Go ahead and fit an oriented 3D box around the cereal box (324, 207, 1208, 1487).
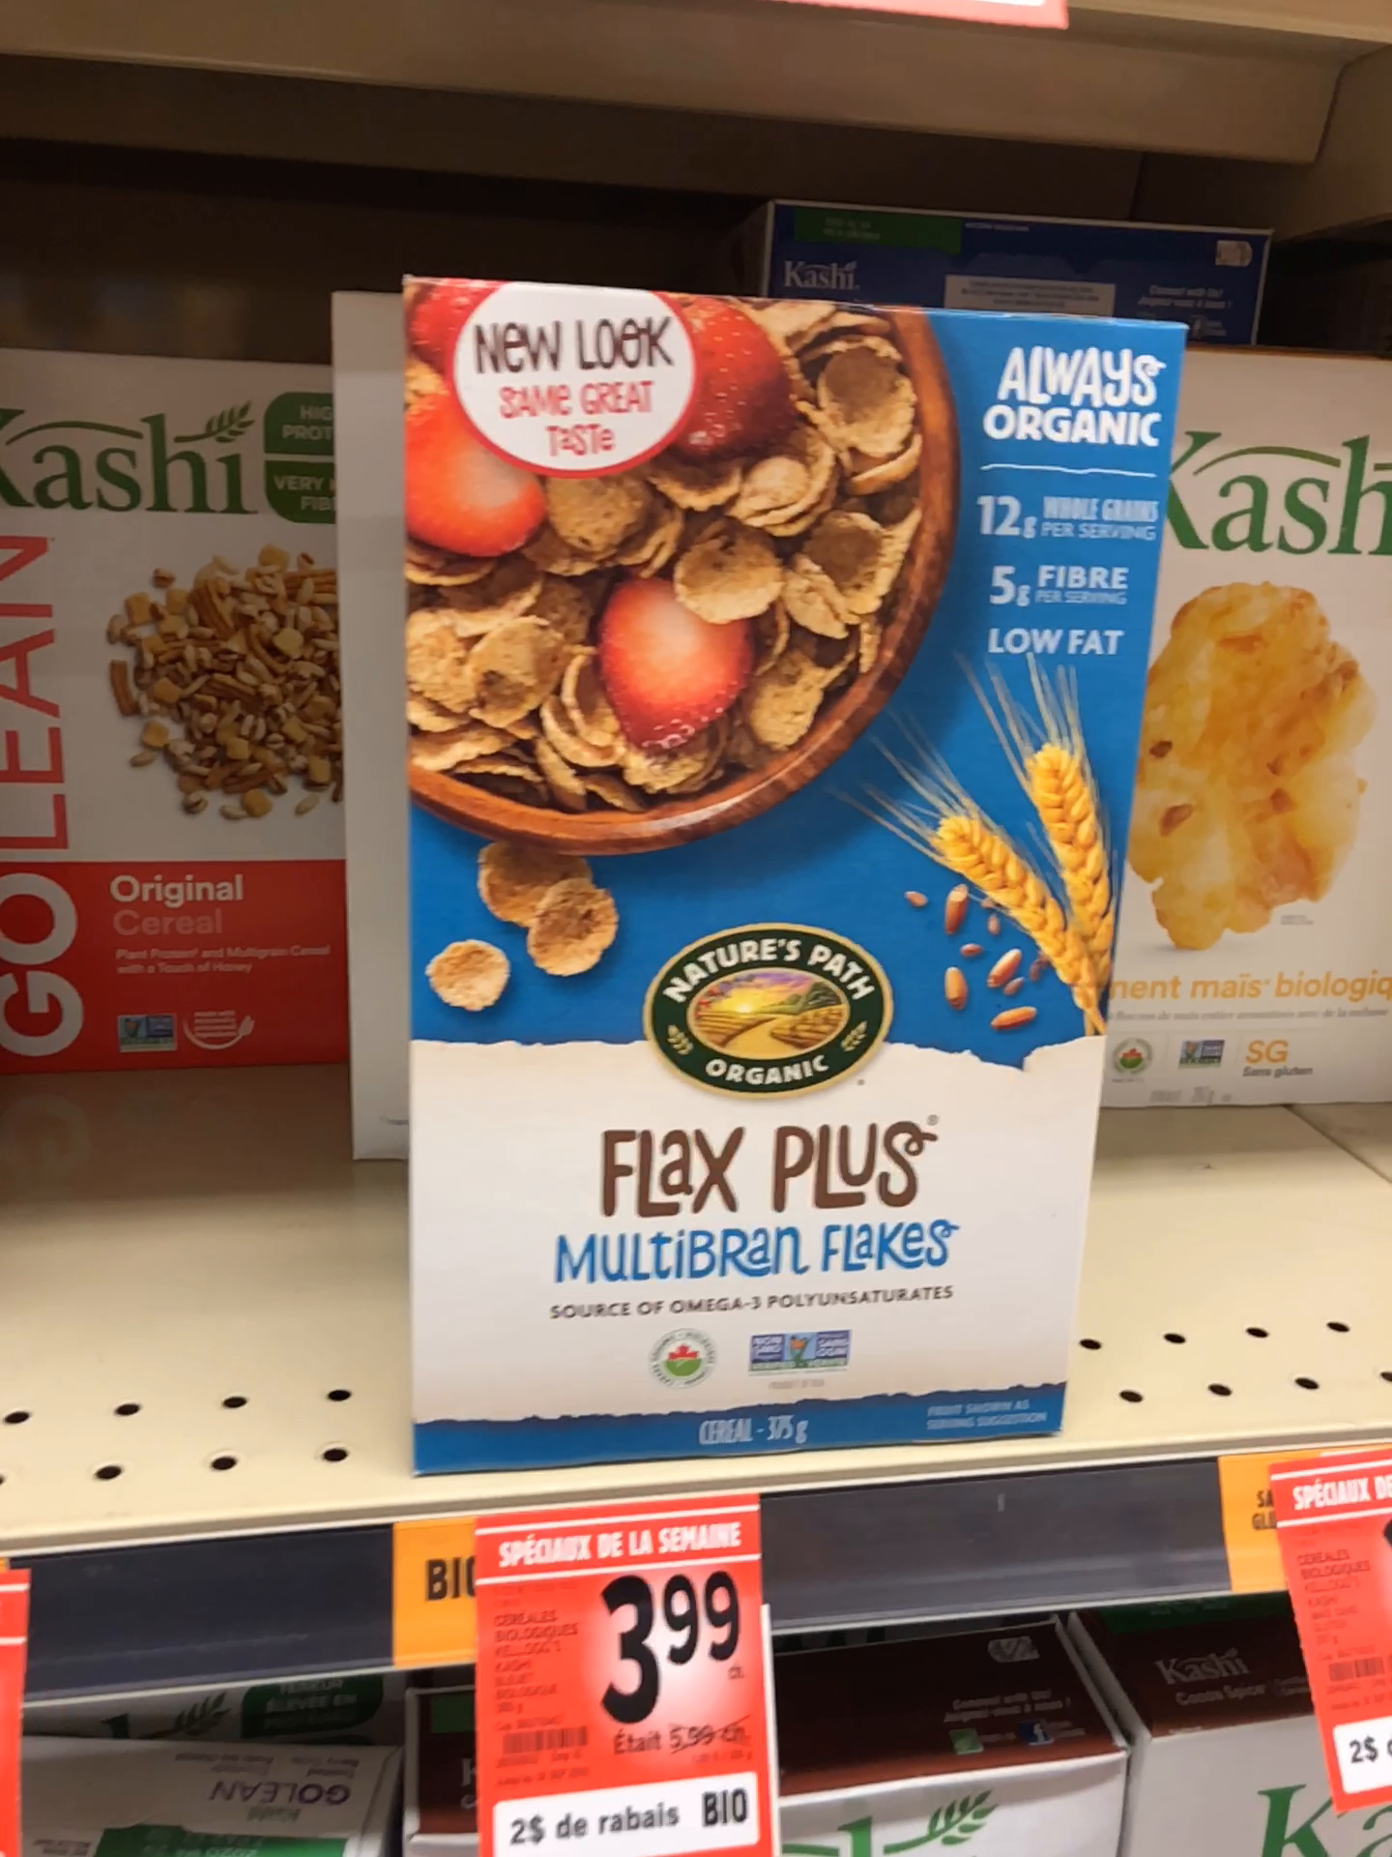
[{"bbox_3d":[0.006,-0.012,0.360,0.170,0.269,0.070,0,16,-9],"label":"cereal box"}]
